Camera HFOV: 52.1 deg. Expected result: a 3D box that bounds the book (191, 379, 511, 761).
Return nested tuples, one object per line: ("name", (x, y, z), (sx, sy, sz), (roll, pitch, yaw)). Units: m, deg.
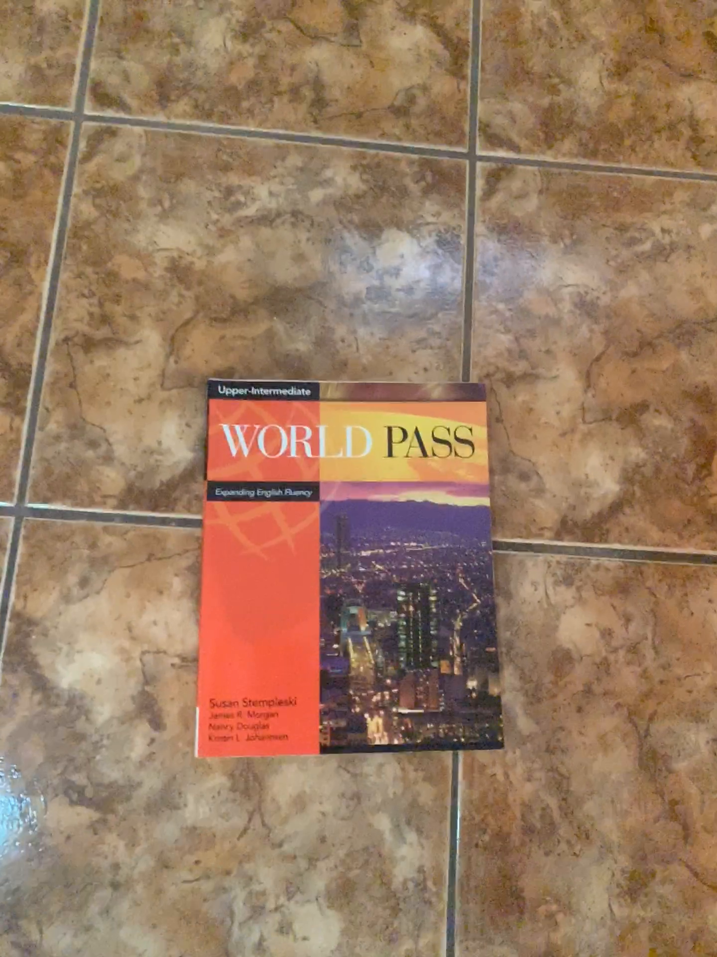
("book", (-0.006, 0.059, 0.538), (0.219, 0.016, 0.271), (0, 77, -4))
